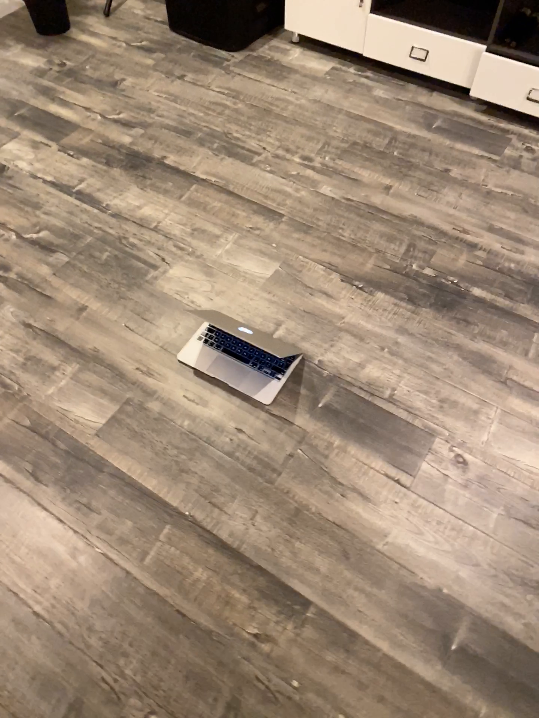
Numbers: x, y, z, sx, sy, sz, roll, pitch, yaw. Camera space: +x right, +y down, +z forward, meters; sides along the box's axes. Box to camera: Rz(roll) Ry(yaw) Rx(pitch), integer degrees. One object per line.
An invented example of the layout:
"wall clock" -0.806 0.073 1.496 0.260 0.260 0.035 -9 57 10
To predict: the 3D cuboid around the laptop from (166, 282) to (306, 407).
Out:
"laptop" -0.082 -0.042 1.419 0.292 0.132 0.193 24 57 18
